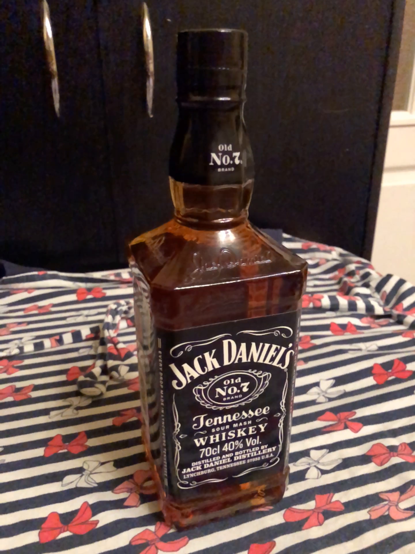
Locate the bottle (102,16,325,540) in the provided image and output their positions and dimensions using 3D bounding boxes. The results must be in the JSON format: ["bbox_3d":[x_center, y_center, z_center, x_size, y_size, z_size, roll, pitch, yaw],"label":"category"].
[{"bbox_3d":[0.000,0.009,0.243,0.074,0.246,0.073,-1,23,0],"label":"bottle"}]
